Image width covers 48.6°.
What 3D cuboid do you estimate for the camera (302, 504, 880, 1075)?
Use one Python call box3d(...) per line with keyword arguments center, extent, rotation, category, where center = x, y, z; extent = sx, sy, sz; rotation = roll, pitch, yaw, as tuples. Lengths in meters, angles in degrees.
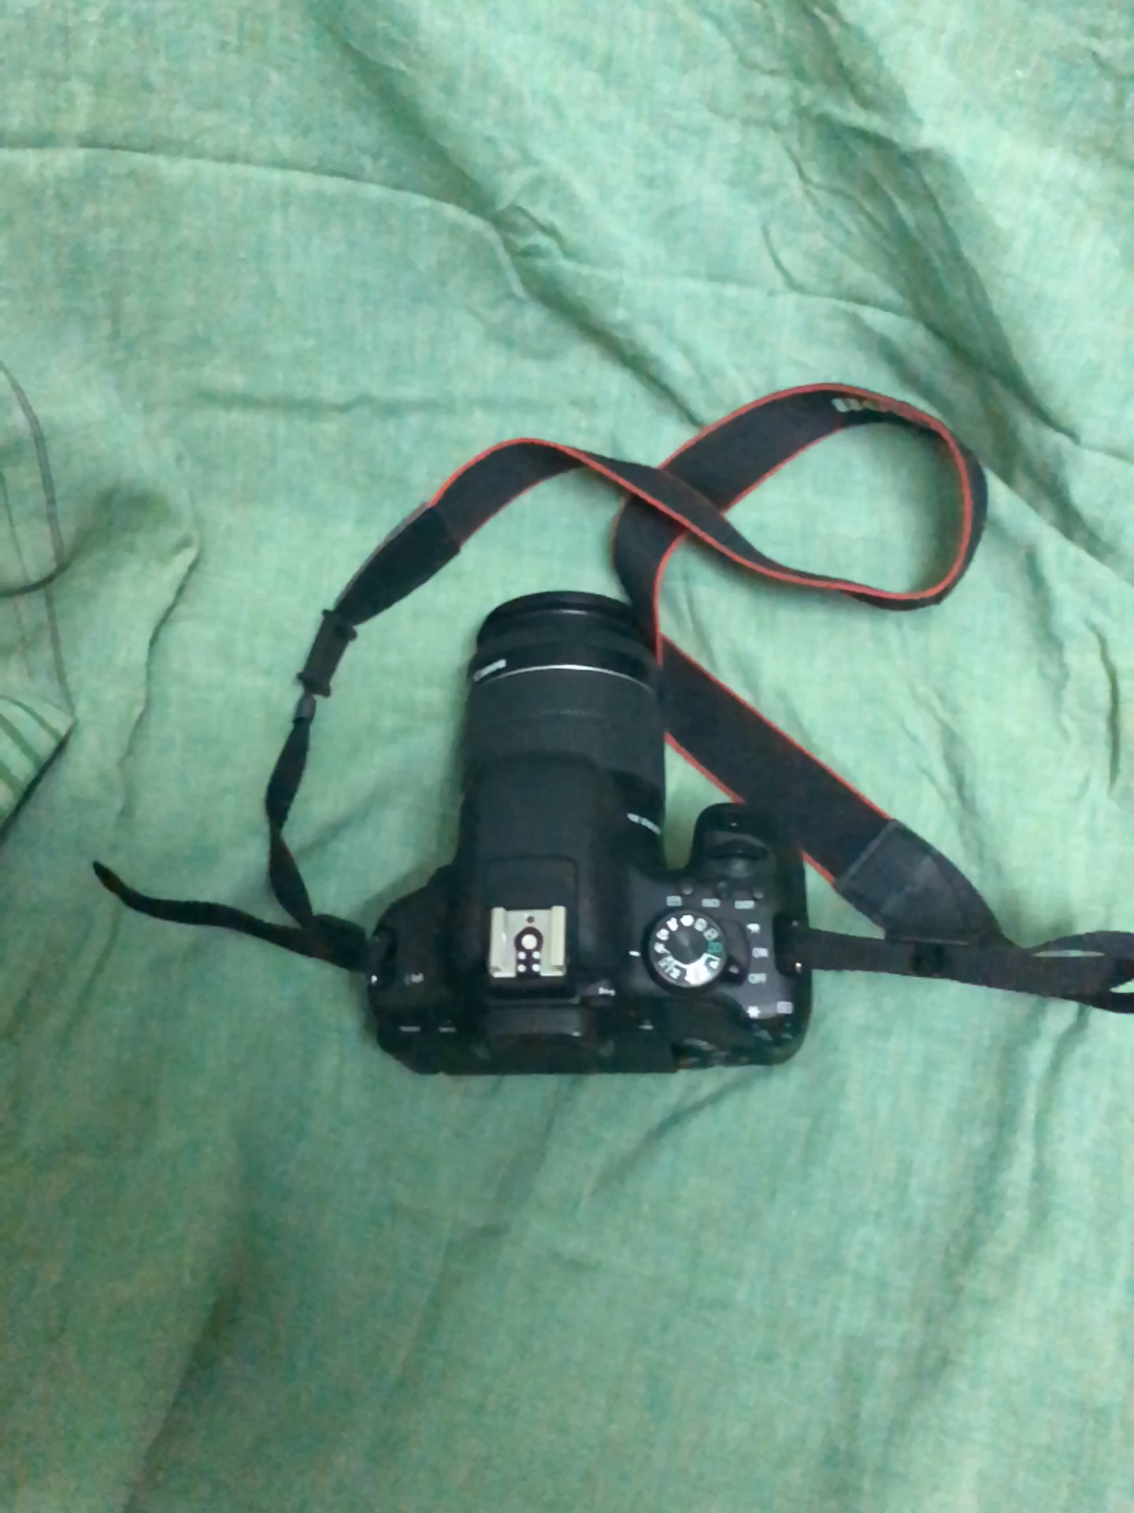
box3d(center=(0.007, 0.015, 0.382), extent=(0.142, 0.100, 0.144), rotation=(-2, 68, 3), category="camera")
